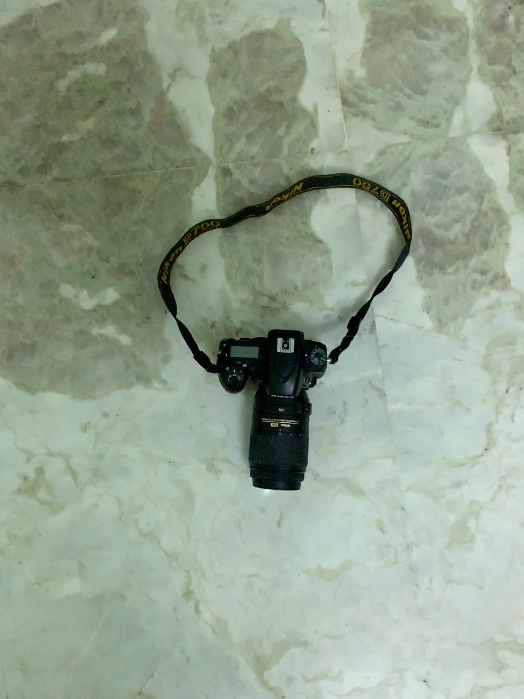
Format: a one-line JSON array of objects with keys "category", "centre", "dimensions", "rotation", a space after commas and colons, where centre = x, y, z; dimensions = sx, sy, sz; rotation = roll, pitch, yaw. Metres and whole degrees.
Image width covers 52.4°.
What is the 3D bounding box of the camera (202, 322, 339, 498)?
[{"category": "camera", "centre": [0.014, 0.081, 0.691], "dimensions": [0.150, 0.120, 0.200], "rotation": [3, 78, 2]}]
